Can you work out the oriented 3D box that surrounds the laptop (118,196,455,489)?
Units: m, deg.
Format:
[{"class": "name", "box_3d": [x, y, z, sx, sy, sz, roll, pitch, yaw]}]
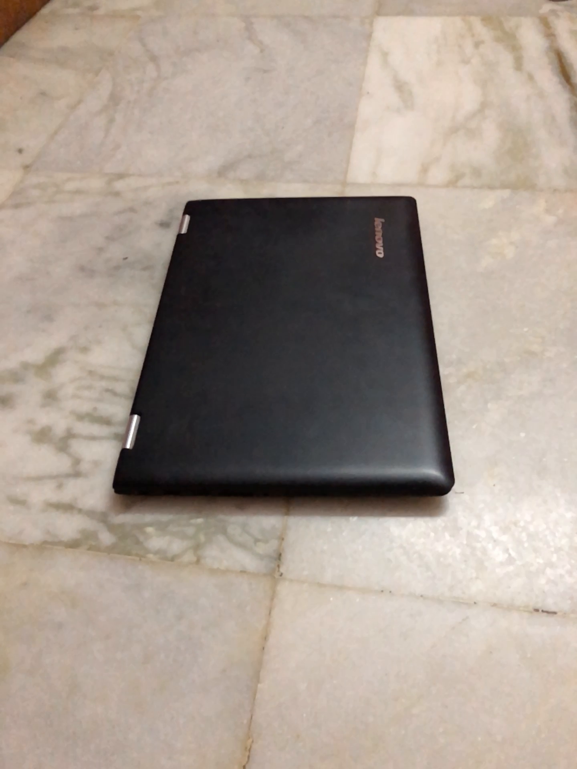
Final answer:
[{"class": "laptop", "box_3d": [0.005, -0.058, 0.528, 0.222, 0.002, 0.330, 0, 50, 4]}]
